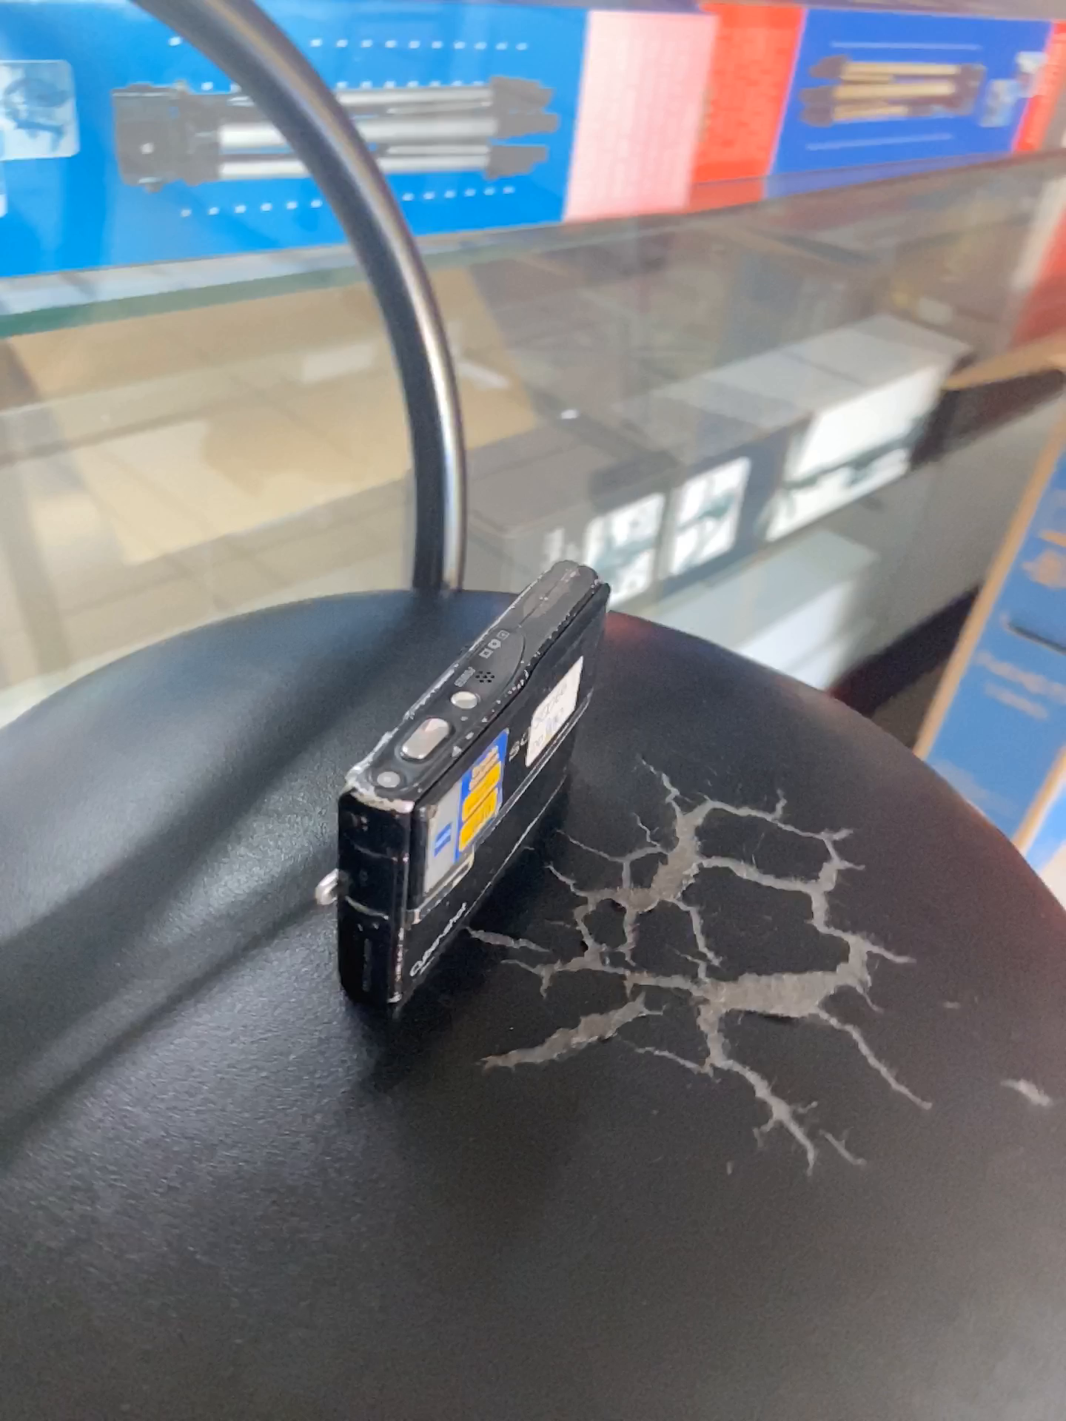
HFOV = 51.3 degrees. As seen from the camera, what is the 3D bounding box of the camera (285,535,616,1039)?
[{"bbox_3d":[-0.015,0.011,0.239,0.020,0.060,0.101,21,39,16],"label":"camera"}]
